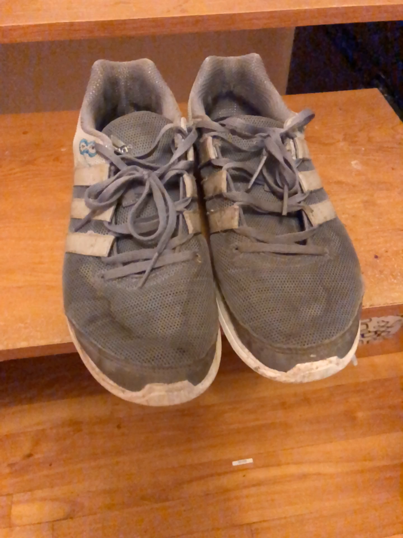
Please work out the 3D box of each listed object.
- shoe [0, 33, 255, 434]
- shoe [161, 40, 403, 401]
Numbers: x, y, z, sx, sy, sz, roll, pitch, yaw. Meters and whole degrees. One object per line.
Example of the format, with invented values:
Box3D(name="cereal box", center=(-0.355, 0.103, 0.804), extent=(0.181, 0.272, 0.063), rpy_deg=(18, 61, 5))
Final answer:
Box3D(name="shoe", center=(-0.061, -0.058, 0.317), extent=(0.110, 0.089, 0.302), rpy_deg=(-9, 49, -8))
Box3D(name="shoe", center=(0.050, -0.061, 0.322), extent=(0.120, 0.089, 0.272), rpy_deg=(-8, 49, -7))
